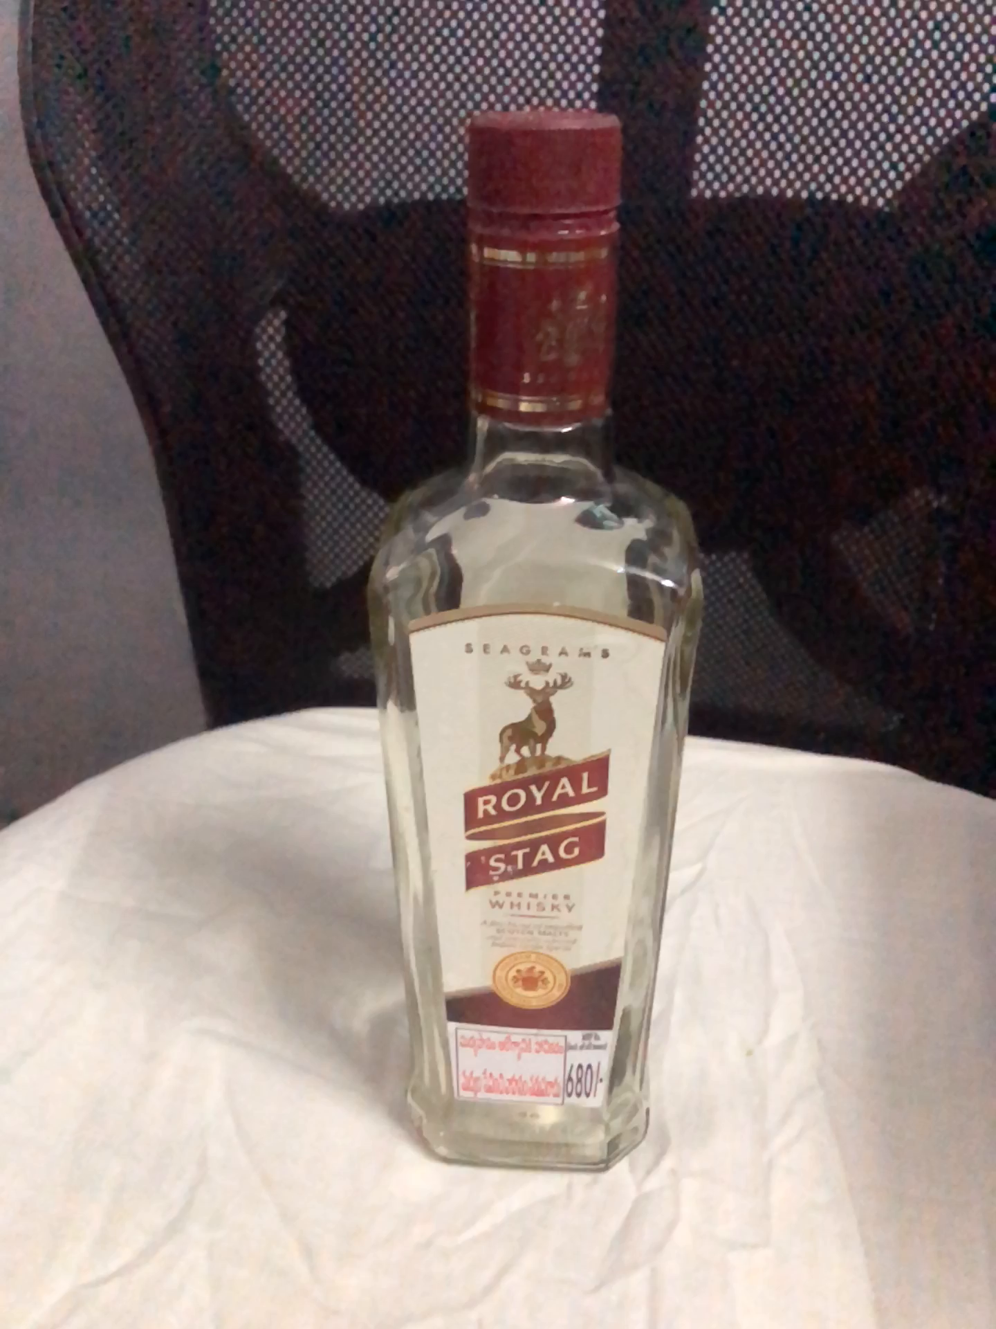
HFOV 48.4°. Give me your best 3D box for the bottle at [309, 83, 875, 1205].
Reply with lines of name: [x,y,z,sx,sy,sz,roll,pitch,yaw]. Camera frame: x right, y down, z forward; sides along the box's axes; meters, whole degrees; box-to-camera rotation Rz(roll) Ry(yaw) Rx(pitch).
bottle: [0.014,0.017,0.274,0.090,0.278,0.060,4,32,4]
